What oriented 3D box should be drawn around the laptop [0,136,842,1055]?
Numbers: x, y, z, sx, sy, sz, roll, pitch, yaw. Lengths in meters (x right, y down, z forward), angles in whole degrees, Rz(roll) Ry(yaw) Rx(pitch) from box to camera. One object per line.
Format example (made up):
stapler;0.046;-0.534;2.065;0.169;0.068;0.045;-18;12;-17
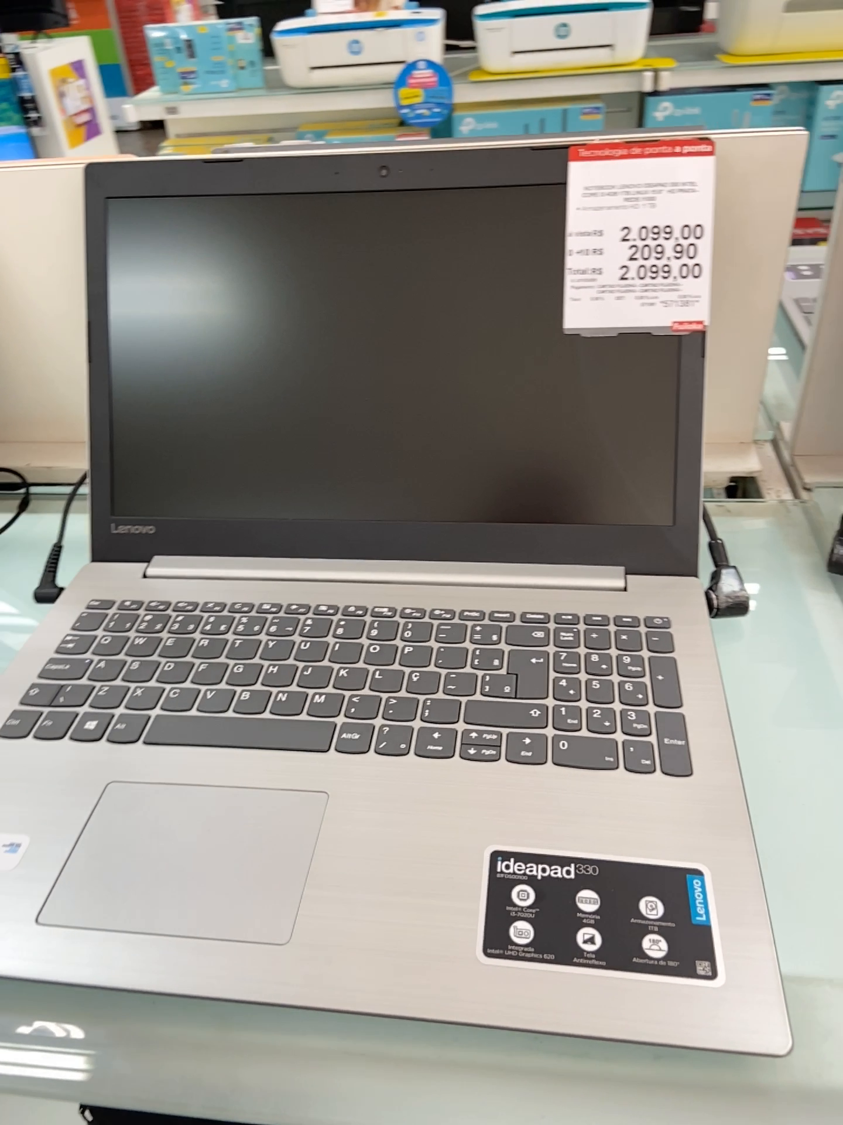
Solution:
laptop;-0.042;-0.040;0.407;0.370;0.194;0.391;1;37;9
